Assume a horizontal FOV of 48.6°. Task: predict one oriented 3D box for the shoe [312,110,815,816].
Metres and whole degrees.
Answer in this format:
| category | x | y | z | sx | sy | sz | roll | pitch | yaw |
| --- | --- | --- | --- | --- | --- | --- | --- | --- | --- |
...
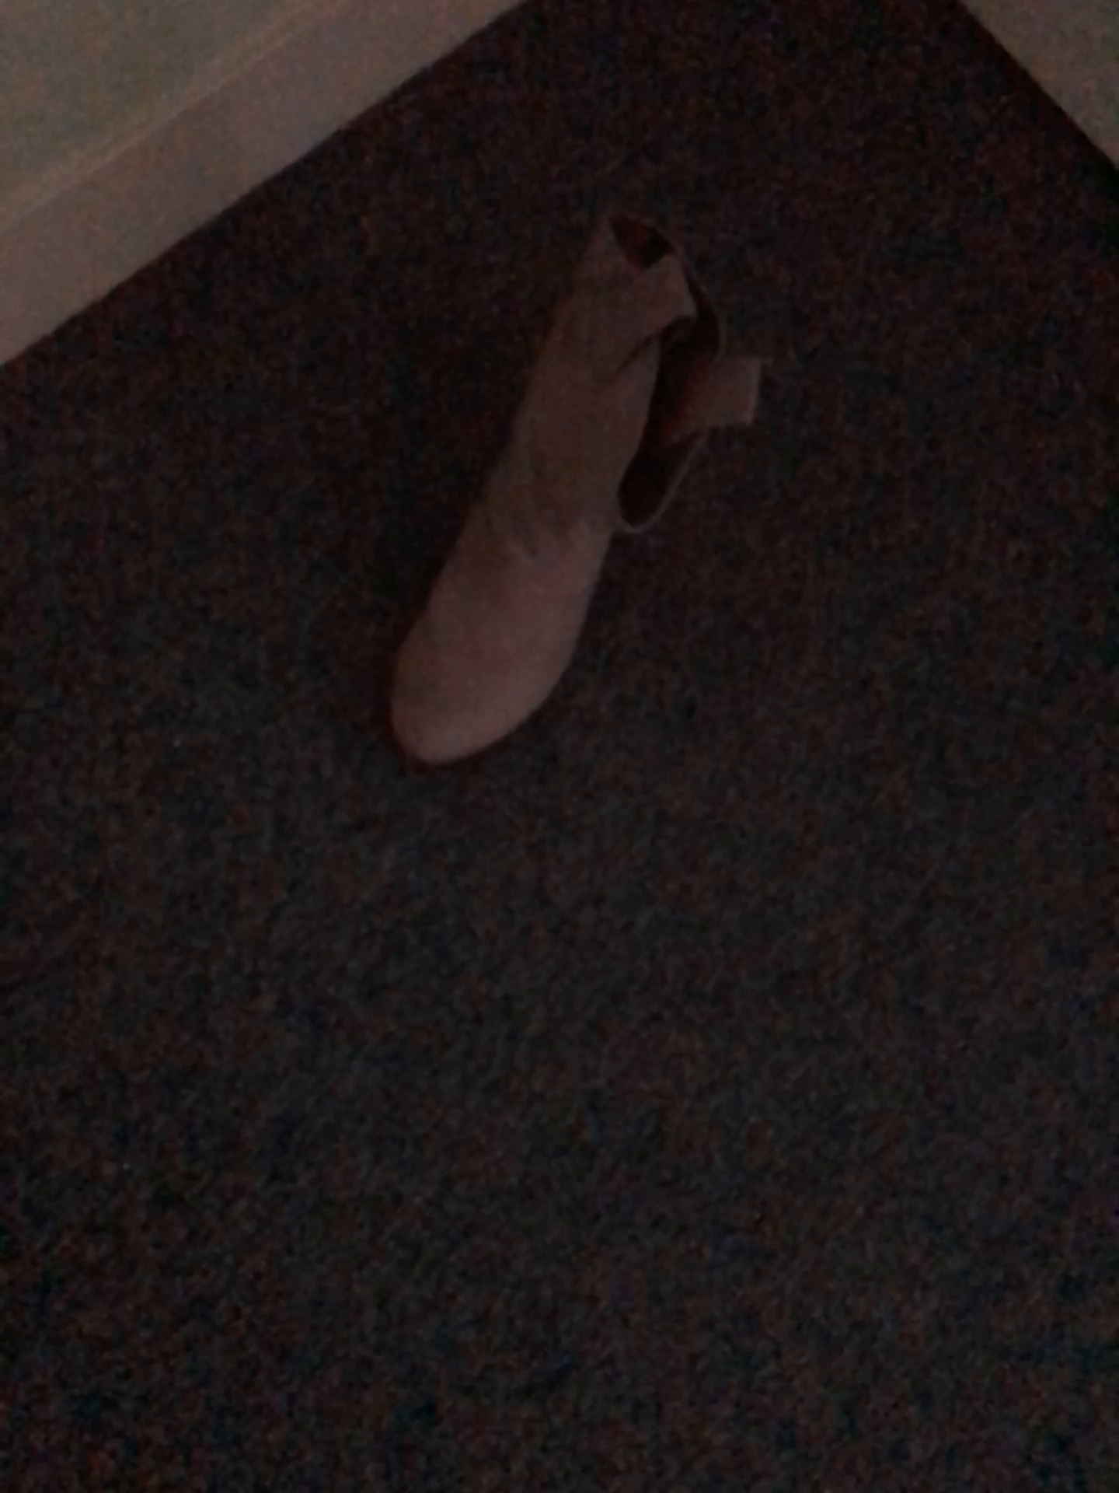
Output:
| category | x | y | z | sx | sy | sz | roll | pitch | yaw |
| --- | --- | --- | --- | --- | --- | --- | --- | --- | --- |
| shoe | -0.002 | -0.116 | 0.610 | 0.130 | 0.220 | 0.240 | 21 | 77 | 0 |
